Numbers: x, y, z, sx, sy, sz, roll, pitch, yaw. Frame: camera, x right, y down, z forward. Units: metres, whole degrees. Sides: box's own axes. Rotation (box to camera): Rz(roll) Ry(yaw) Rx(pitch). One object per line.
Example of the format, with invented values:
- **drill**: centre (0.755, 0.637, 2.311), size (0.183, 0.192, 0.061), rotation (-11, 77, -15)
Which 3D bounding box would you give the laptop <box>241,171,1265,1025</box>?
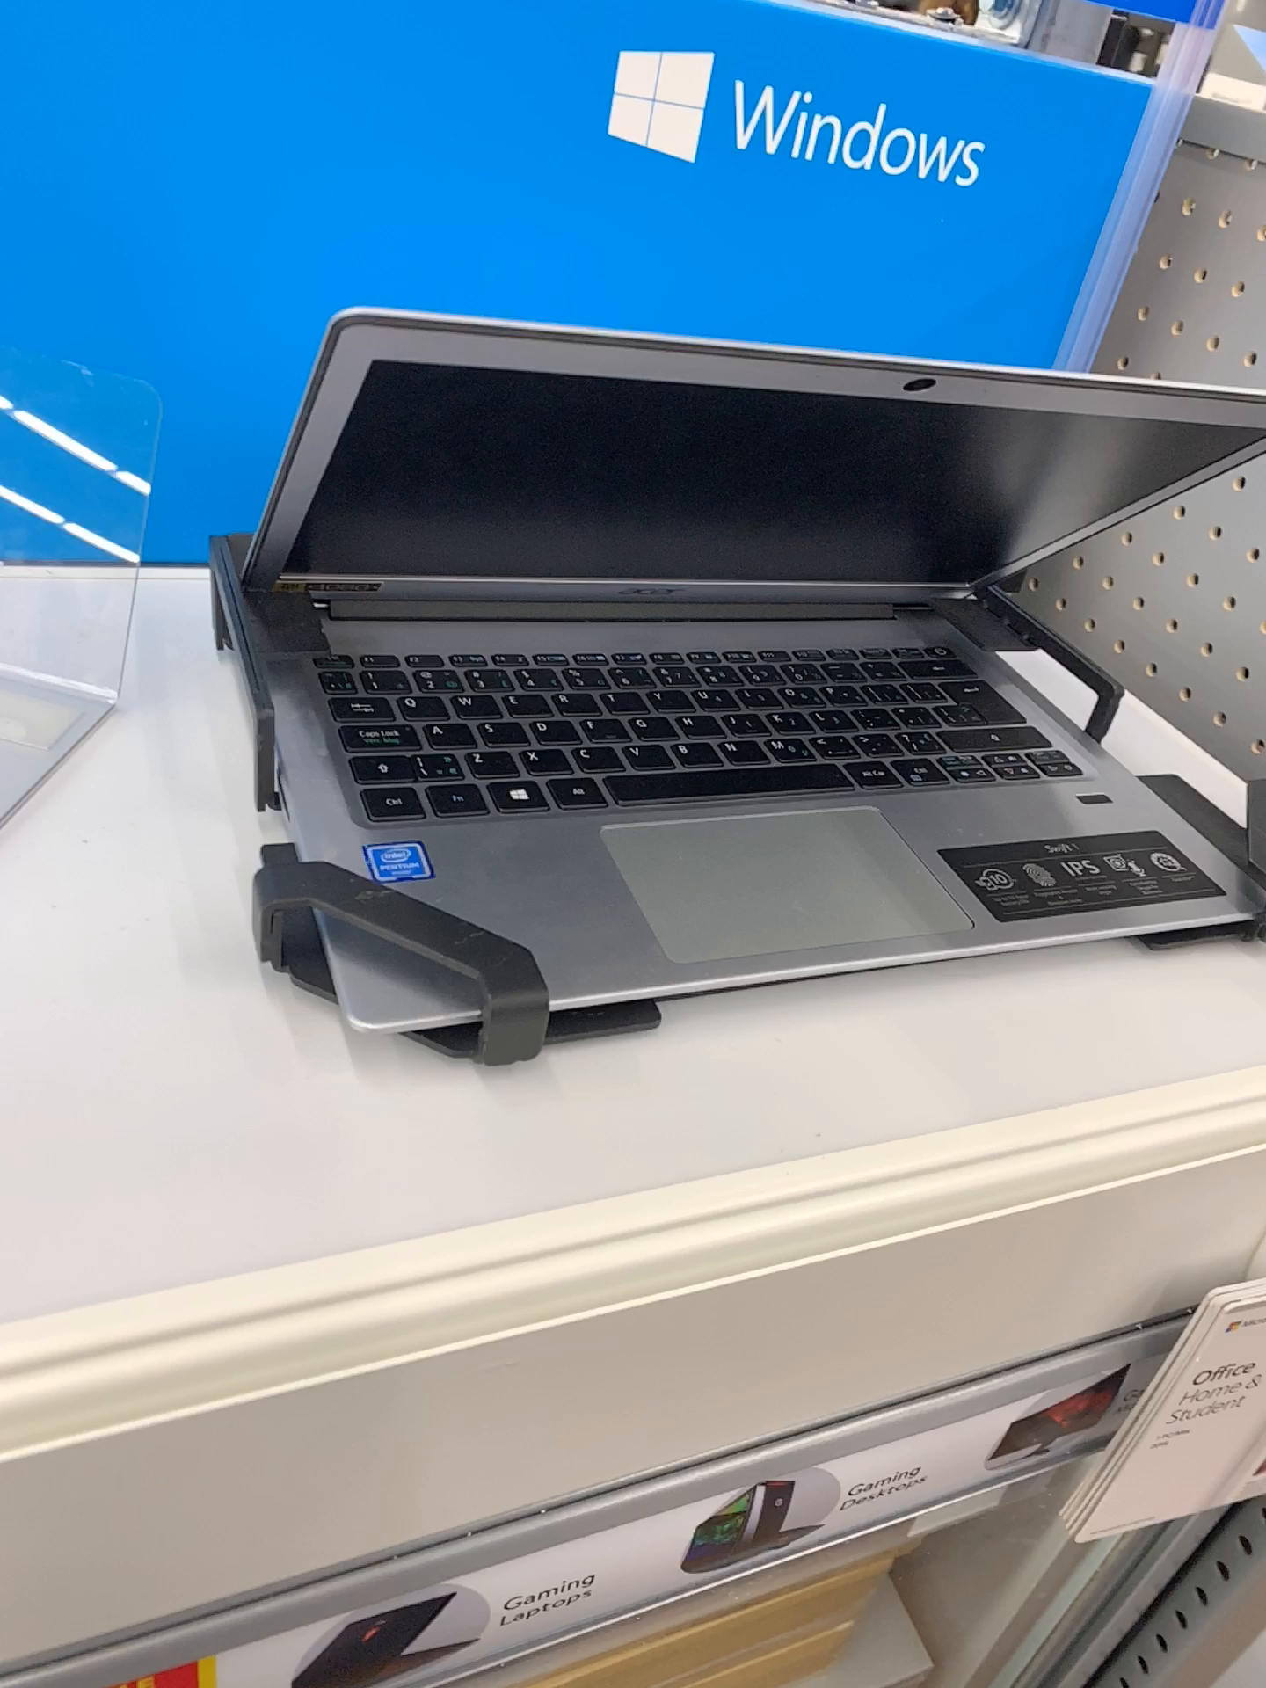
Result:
- **laptop**: centre (0.051, -0.085, 0.407), size (0.308, 0.140, 0.198), rotation (-4, 40, -23)
